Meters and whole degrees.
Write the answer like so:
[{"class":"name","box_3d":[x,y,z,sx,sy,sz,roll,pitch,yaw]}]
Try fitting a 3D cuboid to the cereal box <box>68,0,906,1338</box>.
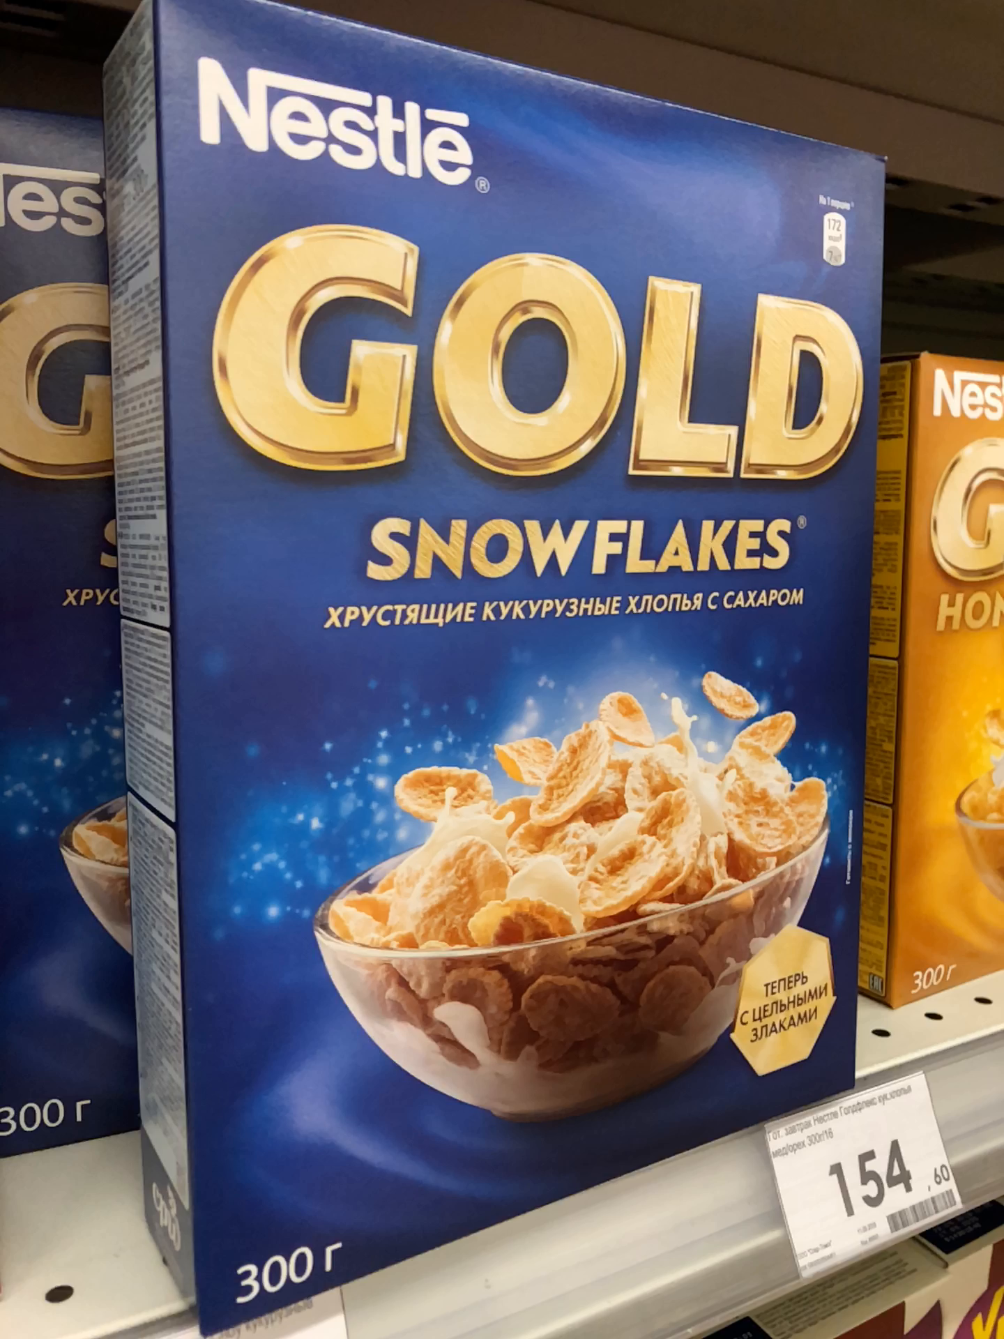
[{"class":"cereal box","box_3d":[0.009,-0.002,0.277,0.200,0.269,0.050,-4,8,-31]}]
